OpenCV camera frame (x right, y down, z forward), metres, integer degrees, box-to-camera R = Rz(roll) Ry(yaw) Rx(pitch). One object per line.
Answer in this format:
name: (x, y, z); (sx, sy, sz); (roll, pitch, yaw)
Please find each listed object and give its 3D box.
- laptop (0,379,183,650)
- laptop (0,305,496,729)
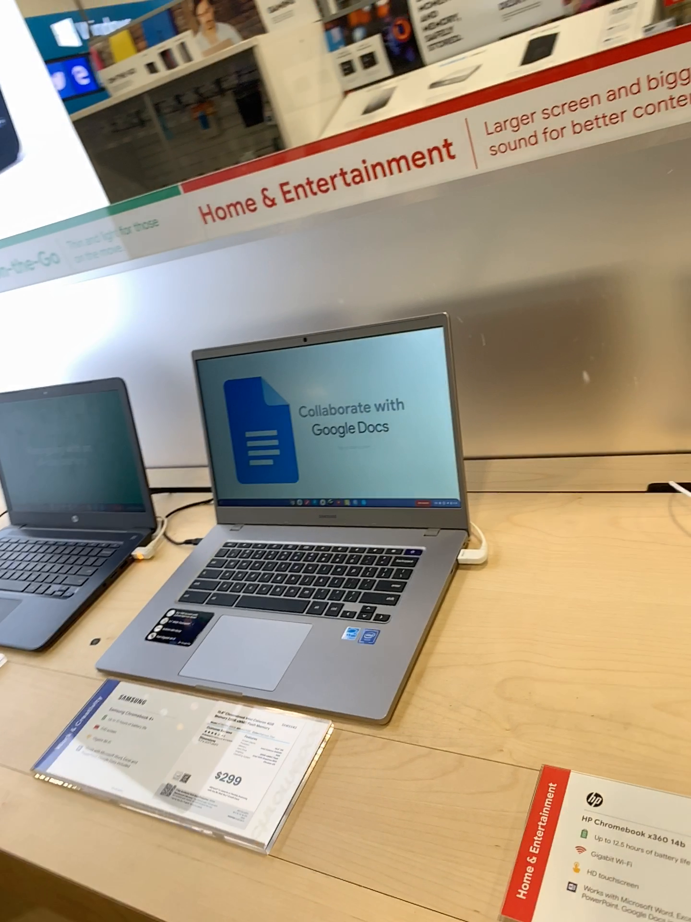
laptop: (-0.459, 0.056, 0.962); (0.321, 0.193, 0.294); (-2, 32, 30)
laptop: (-0.078, 0.032, 0.733); (0.352, 0.205, 0.338); (-2, 34, 31)
